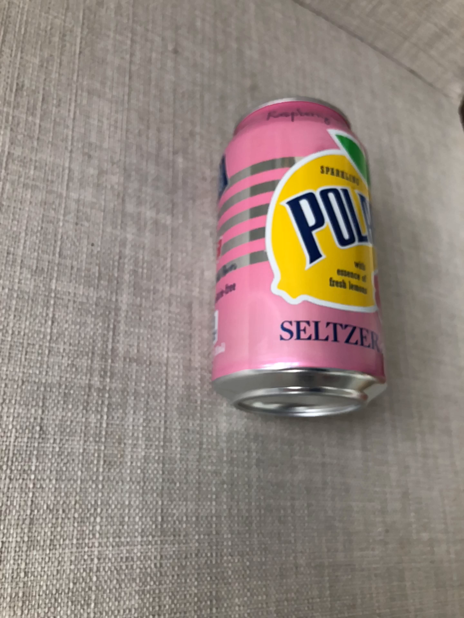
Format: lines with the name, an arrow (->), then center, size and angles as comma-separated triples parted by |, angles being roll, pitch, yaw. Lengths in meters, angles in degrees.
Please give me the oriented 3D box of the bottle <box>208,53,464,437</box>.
bottle -> 0.038, -0.017, 0.208 | 0.070, 0.065, 0.122 | 12, 67, -32
